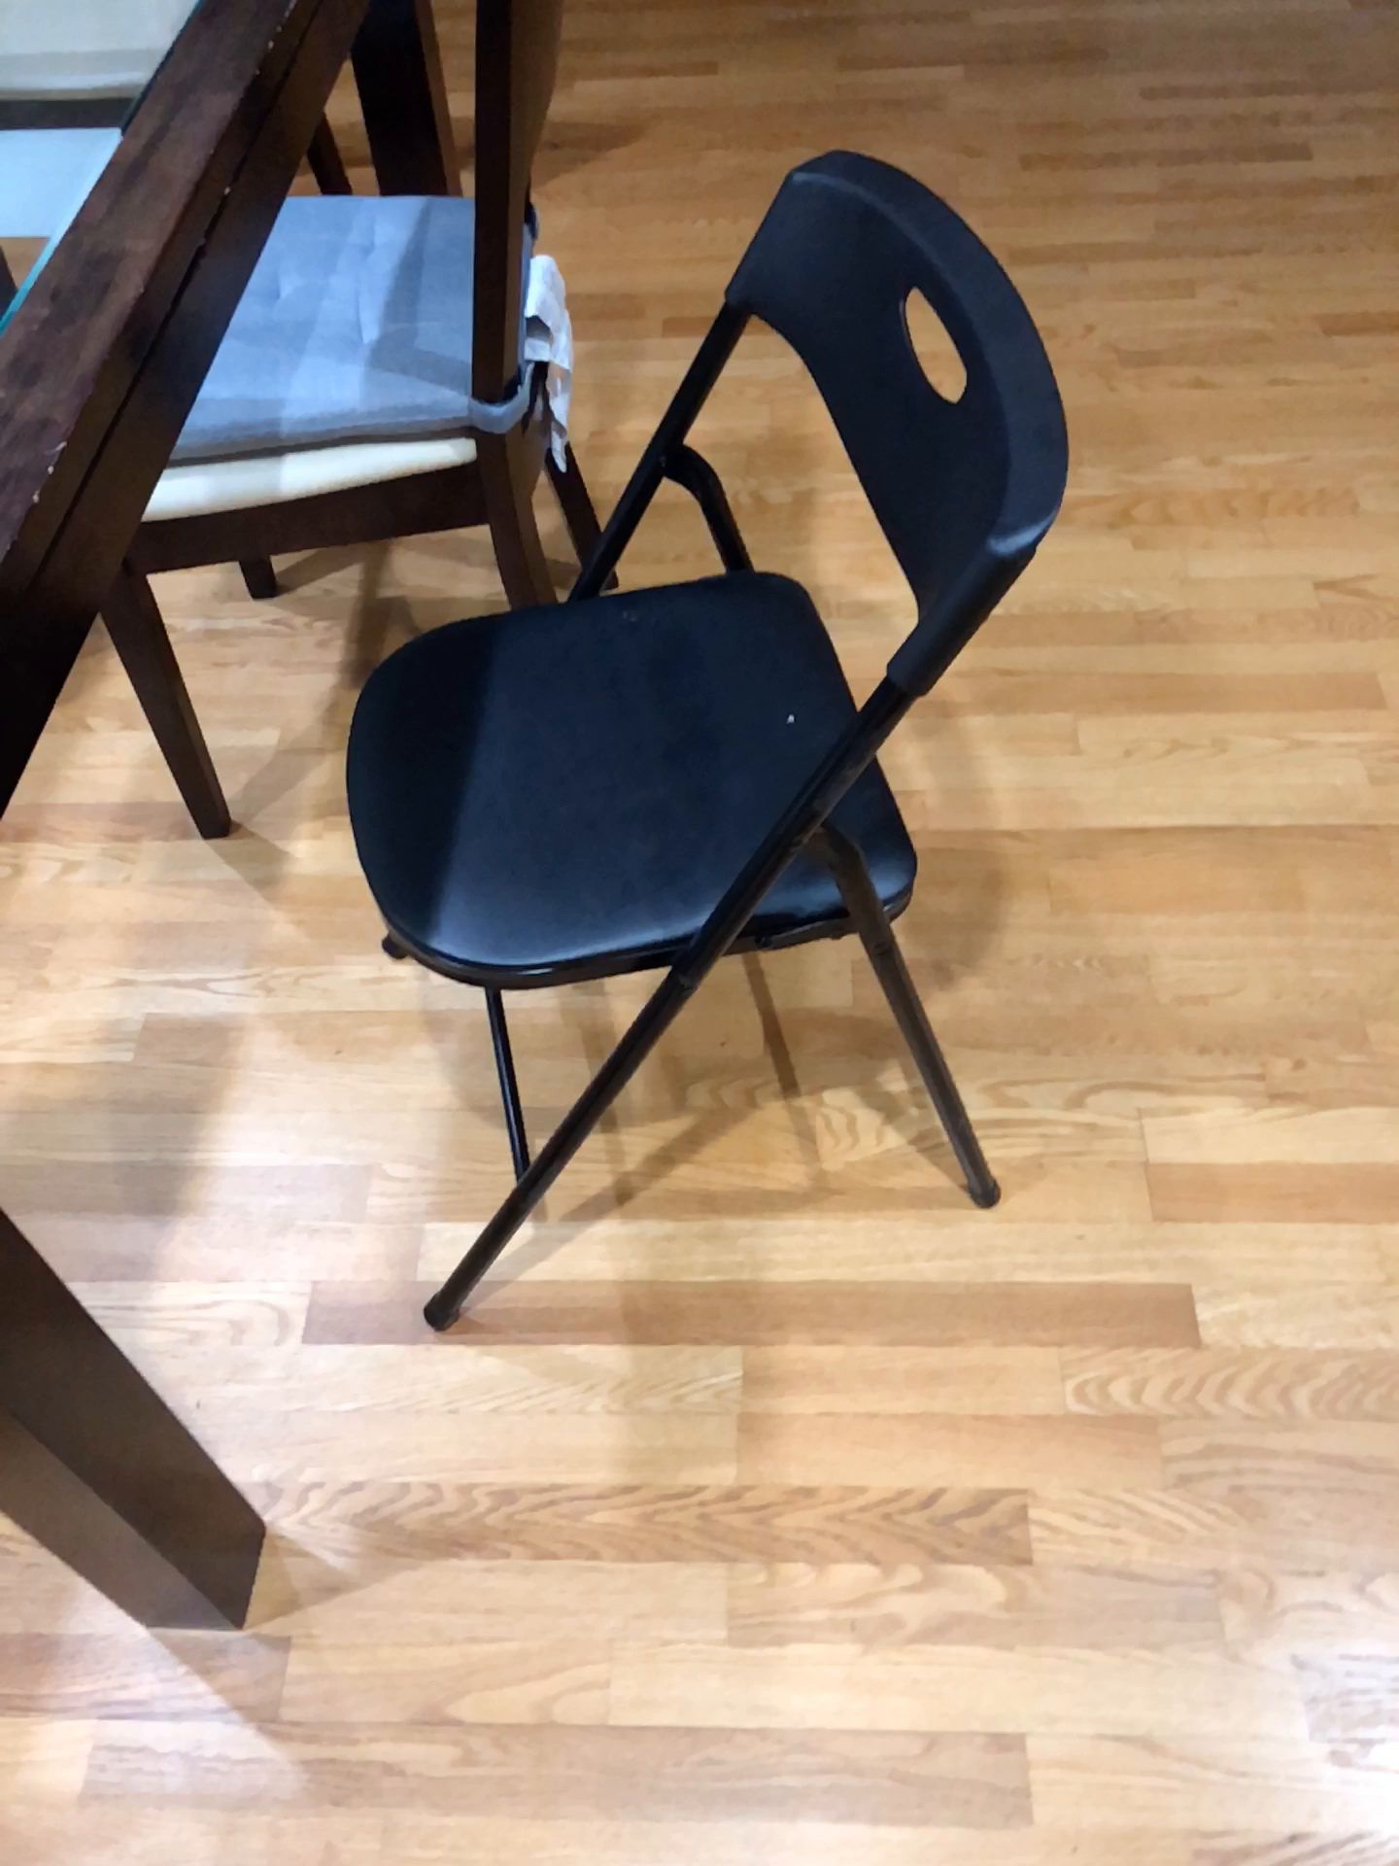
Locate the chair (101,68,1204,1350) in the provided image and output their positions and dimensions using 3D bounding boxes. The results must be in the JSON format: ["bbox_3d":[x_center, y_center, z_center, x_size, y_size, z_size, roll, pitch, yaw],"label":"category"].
[{"bbox_3d":[-0.045,-0.130,1.142,0.520,0.697,0.523,-11,51,-5],"label":"chair"}]
